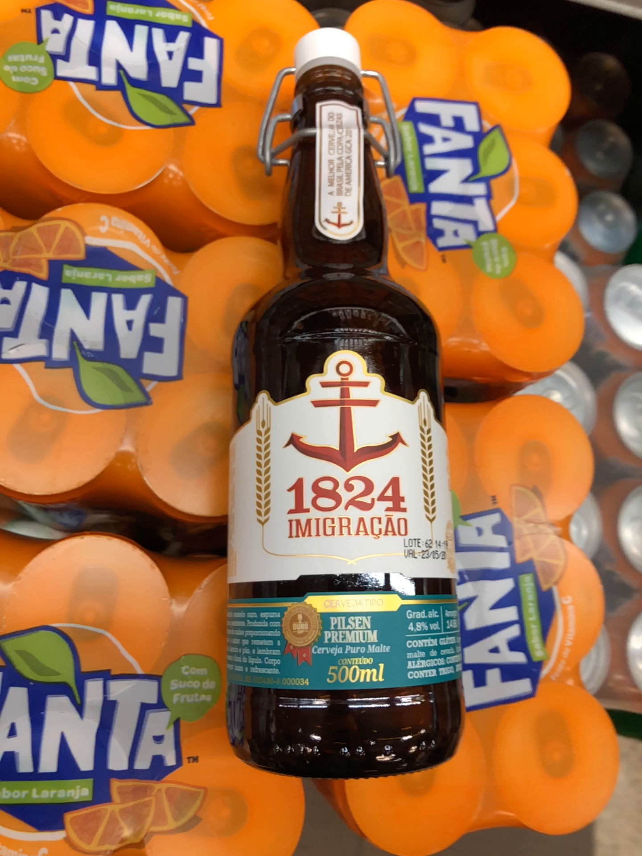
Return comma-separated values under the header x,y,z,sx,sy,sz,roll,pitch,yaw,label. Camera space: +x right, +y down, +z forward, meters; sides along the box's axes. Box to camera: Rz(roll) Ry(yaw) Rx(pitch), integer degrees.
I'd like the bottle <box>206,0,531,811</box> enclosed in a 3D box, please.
x,y,z,sx,sy,sz,roll,pitch,yaw,label
0.009,-0.027,0.226,0.080,0.050,0.250,2,79,-14,bottle
